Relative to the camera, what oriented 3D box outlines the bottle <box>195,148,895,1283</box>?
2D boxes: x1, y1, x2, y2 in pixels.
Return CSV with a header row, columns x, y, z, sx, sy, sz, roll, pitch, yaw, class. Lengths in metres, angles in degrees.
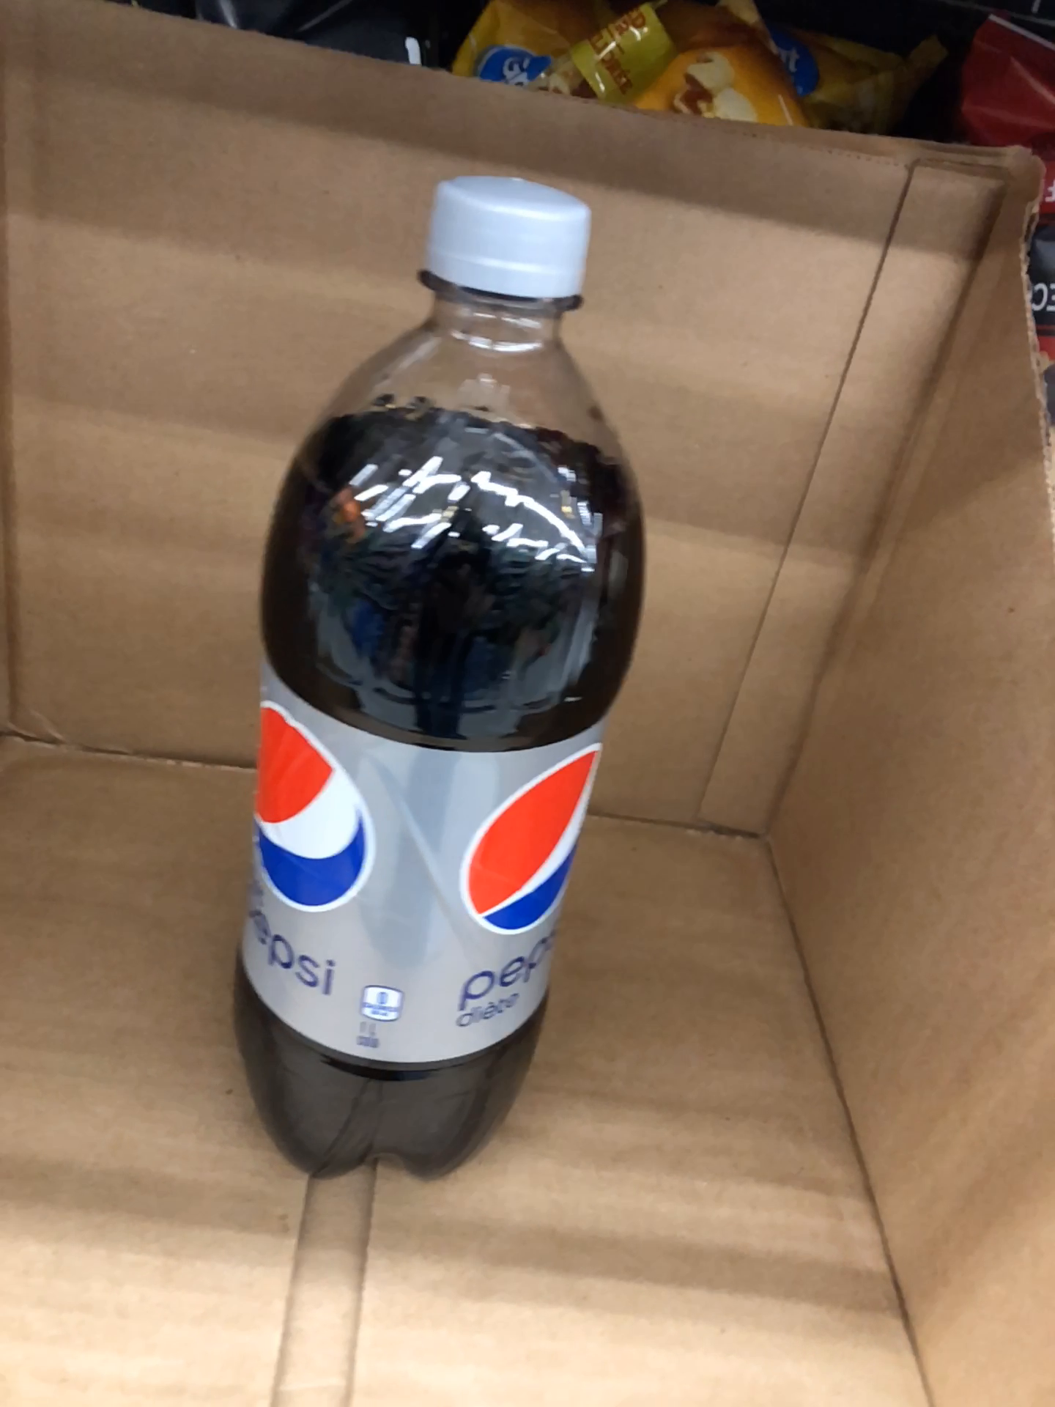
x,y,z,sx,sy,sz,roll,pitch,yaw,class
-0.014,0.010,0.262,0.090,0.228,0.080,-17,42,-36,bottle
